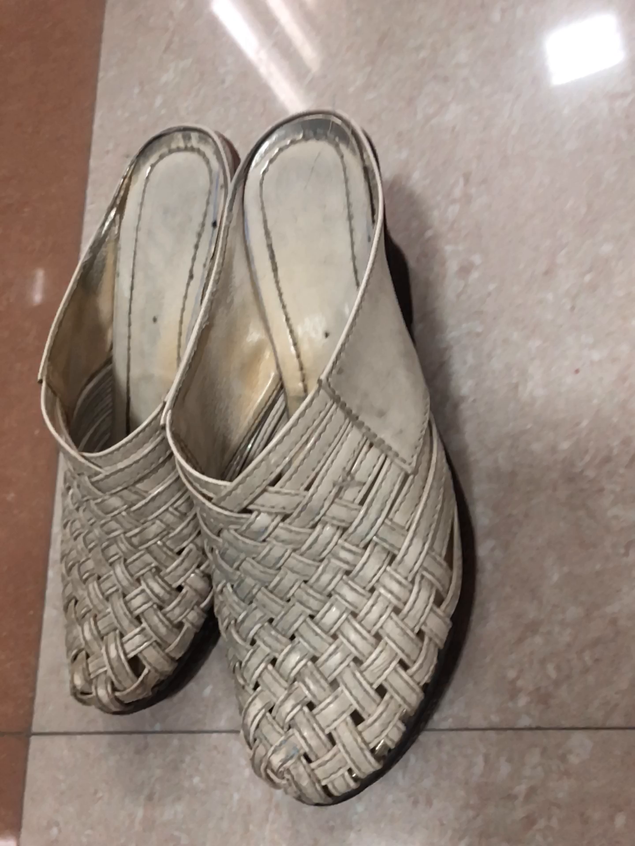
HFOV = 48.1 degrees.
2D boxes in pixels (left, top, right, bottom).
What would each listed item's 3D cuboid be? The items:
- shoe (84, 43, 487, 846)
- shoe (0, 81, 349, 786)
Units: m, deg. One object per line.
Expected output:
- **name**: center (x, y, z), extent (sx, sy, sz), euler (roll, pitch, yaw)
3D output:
- **shoe**: center (-0.002, 0.010, 0.252), extent (0.090, 0.080, 0.240), euler (-4, 74, 34)
- **shoe**: center (-0.069, 0.000, 0.292), extent (0.090, 0.080, 0.240), euler (6, 79, 33)
